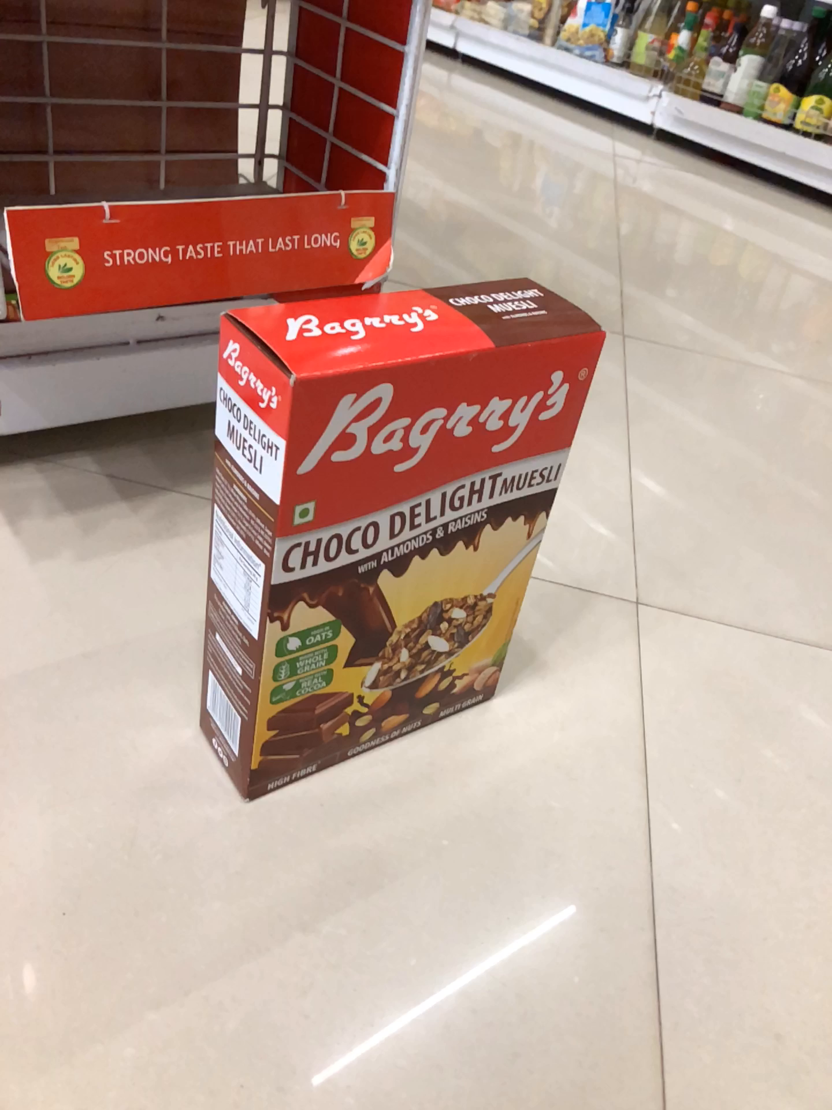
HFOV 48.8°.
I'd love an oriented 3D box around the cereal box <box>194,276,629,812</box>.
[{"bbox_3d":[-0.012,-0.006,0.496,0.191,0.258,0.070,-16,43,-34],"label":"cereal box"}]
